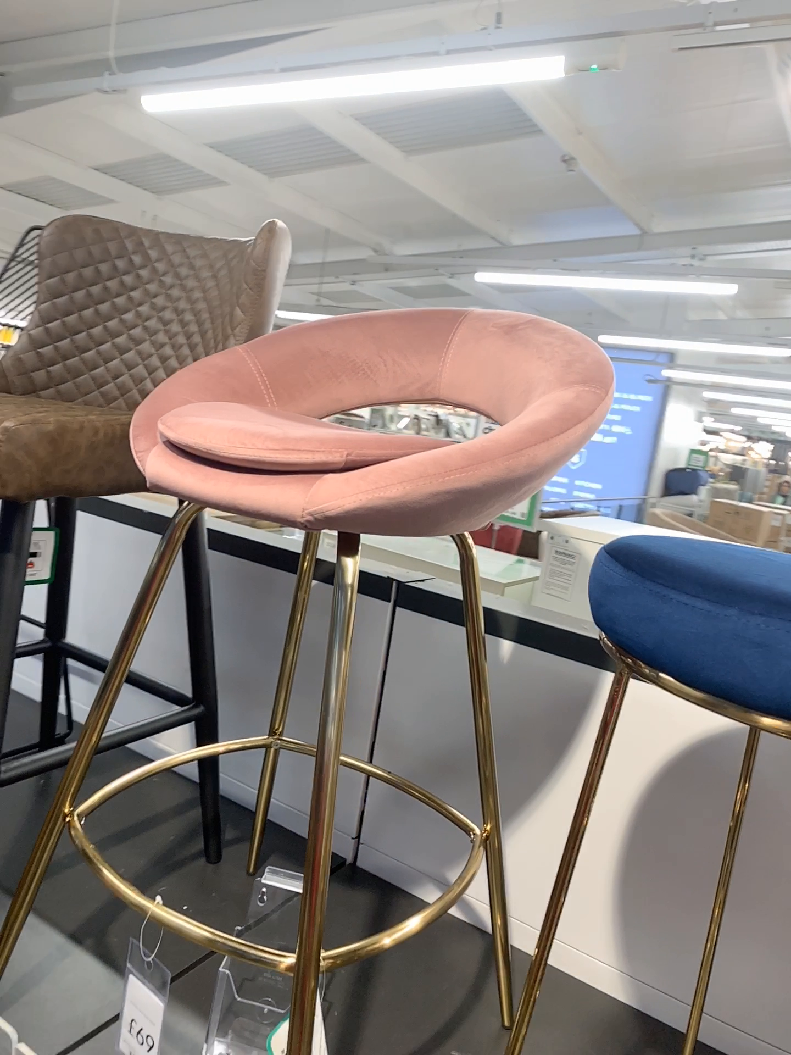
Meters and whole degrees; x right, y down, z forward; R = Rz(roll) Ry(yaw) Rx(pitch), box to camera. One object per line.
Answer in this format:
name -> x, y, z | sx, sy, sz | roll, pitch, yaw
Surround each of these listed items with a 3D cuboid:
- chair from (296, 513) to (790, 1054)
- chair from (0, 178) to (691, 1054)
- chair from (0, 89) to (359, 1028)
chair -> 0.279, 0.339, 0.644 | 0.463, 0.619, 0.431 | 14, 9, 35
chair -> -0.069, 0.138, 0.903 | 0.493, 0.858, 0.461 | 14, 8, 35
chair -> -0.451, 0.002, 1.124 | 0.502, 0.958, 0.451 | 13, 8, 29
